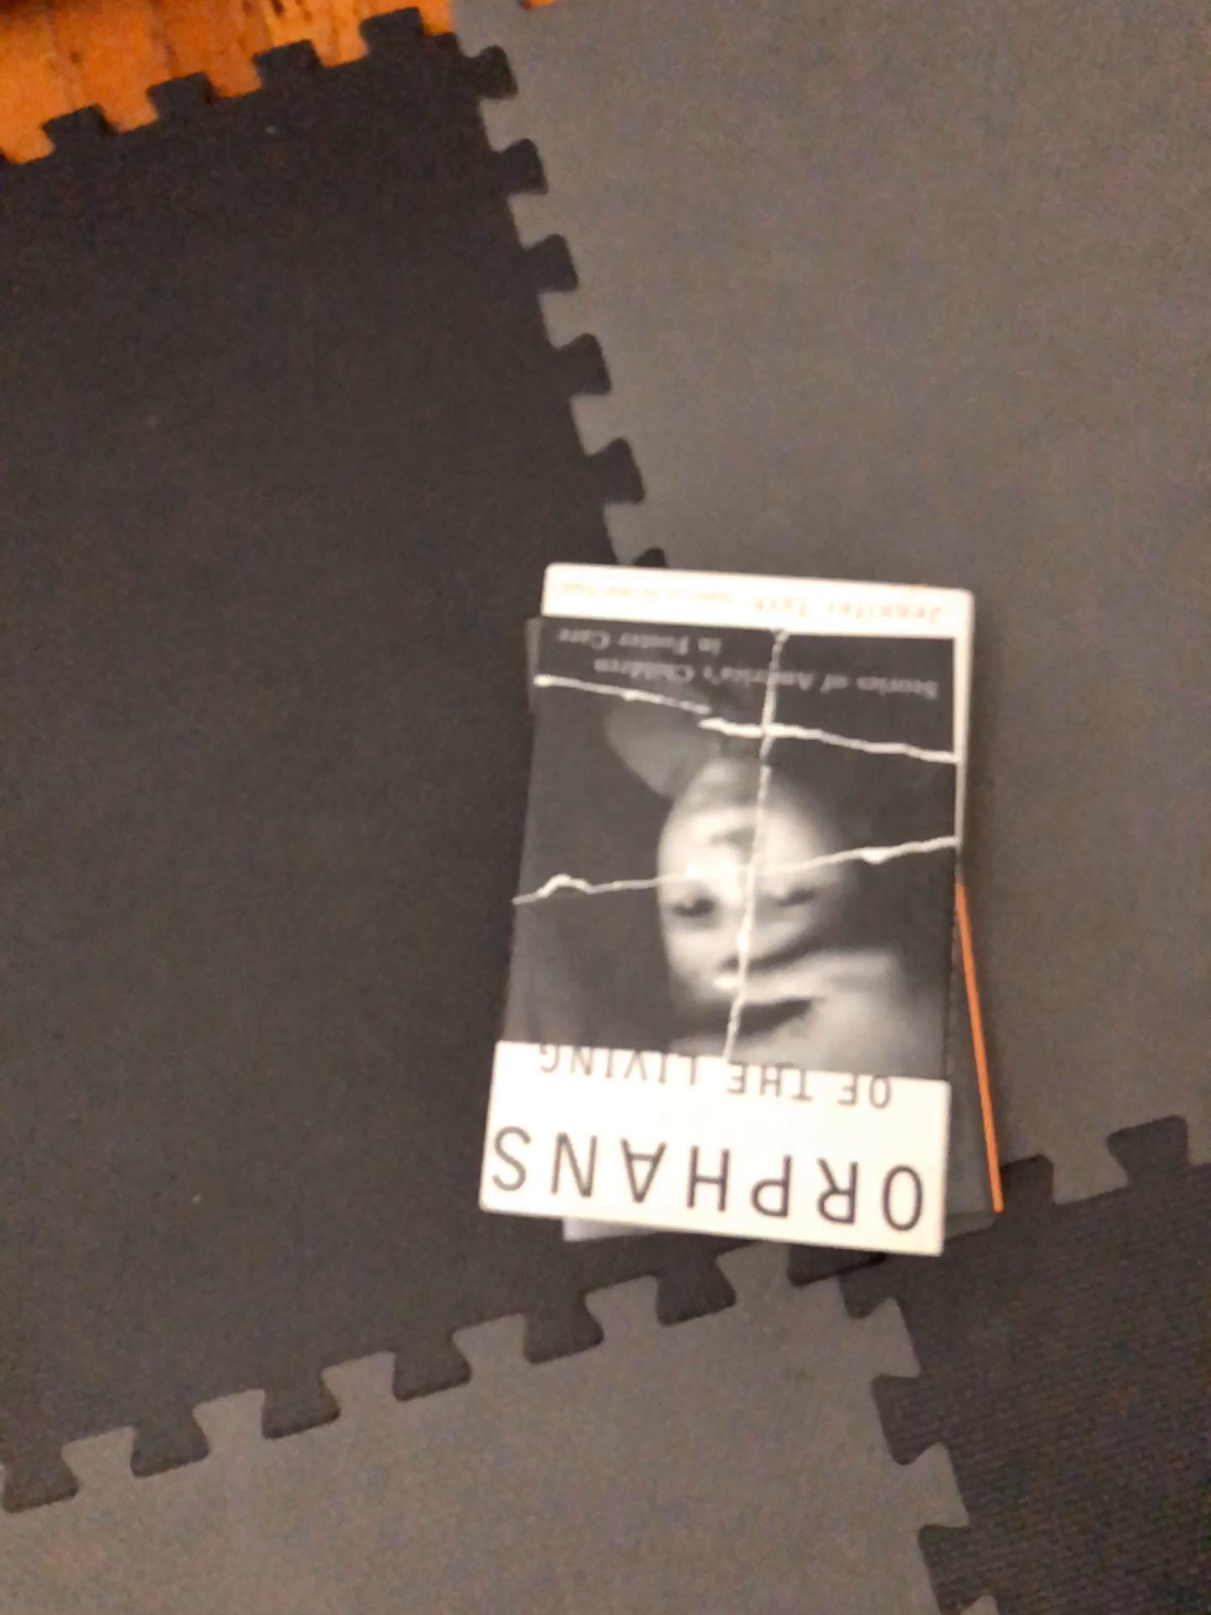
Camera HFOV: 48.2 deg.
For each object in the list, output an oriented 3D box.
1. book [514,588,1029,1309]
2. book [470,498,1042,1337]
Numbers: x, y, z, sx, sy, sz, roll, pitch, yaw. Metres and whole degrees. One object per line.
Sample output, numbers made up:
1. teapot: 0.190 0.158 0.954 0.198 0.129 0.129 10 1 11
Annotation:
1. book: 0.056 0.049 0.512 0.160 0.030 0.250 -6 78 4
2. book: 0.057 0.030 0.486 0.180 0.030 0.280 4 79 6
